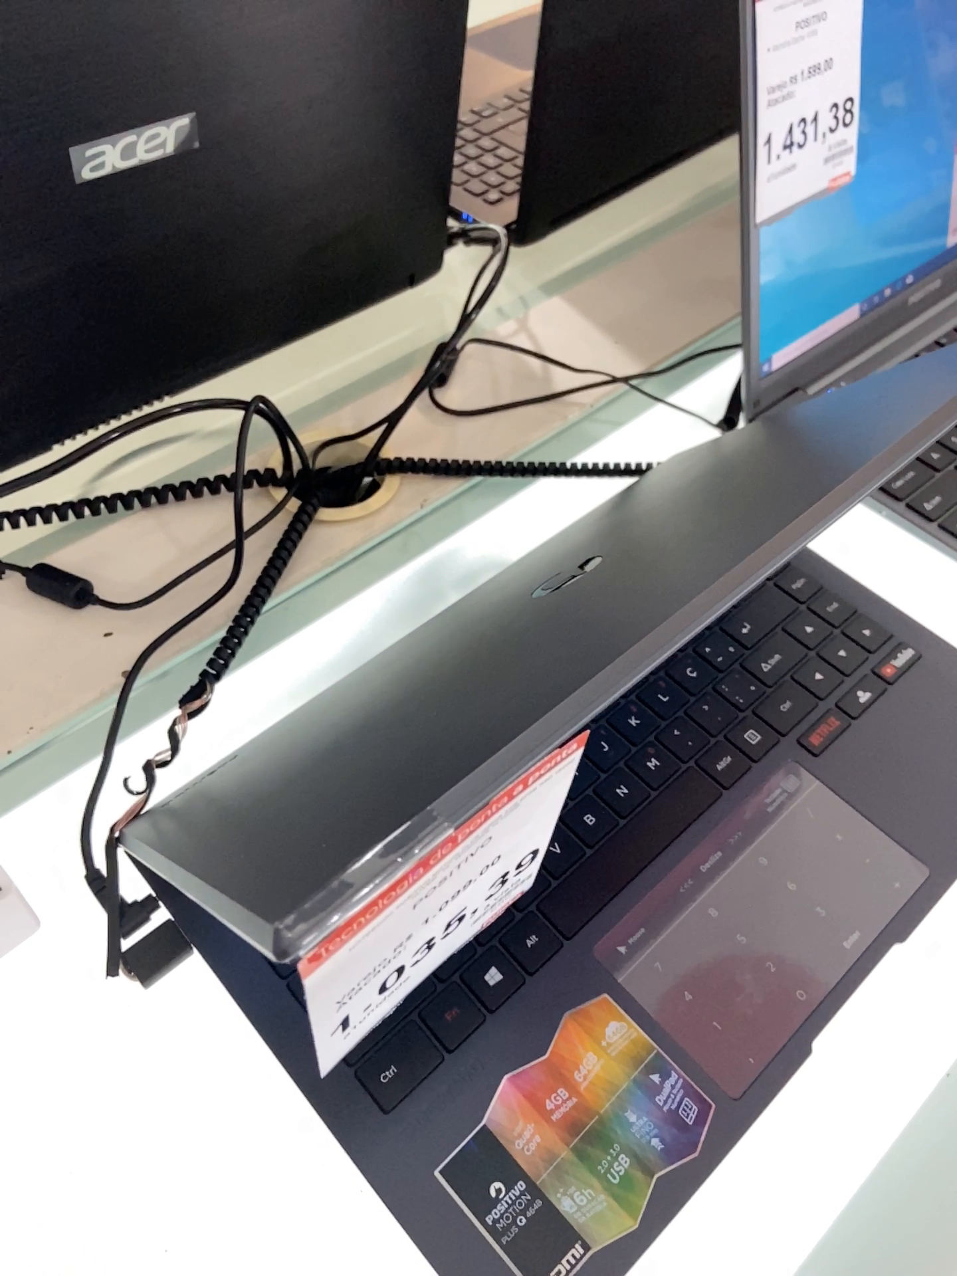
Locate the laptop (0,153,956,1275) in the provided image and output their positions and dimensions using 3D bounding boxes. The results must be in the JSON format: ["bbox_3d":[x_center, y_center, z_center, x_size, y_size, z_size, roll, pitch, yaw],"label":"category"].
[{"bbox_3d":[0.063,0.009,0.341,0.334,0.163,0.222,-35,61,-26],"label":"laptop"}]
